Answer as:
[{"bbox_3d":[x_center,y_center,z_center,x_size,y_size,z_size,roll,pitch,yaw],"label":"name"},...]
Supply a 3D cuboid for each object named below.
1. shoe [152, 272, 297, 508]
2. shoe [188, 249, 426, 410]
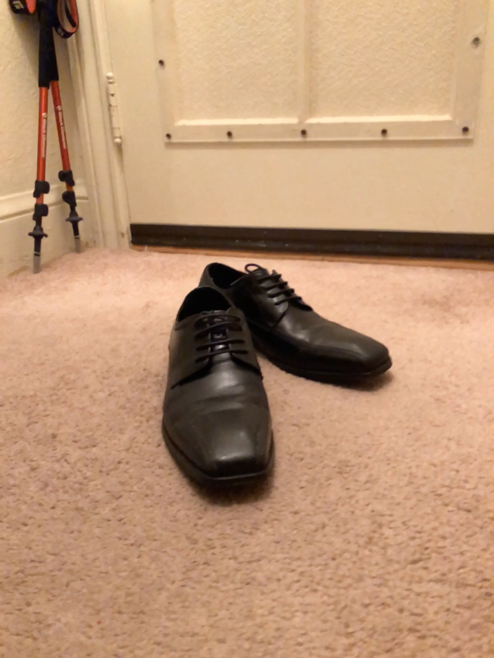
[{"bbox_3d":[-0.037,0.038,0.563,0.110,0.107,0.284,-5,23,-8],"label":"shoe"},{"bbox_3d":[0.064,-0.016,0.716,0.115,0.110,0.297,-22,30,-39],"label":"shoe"}]
